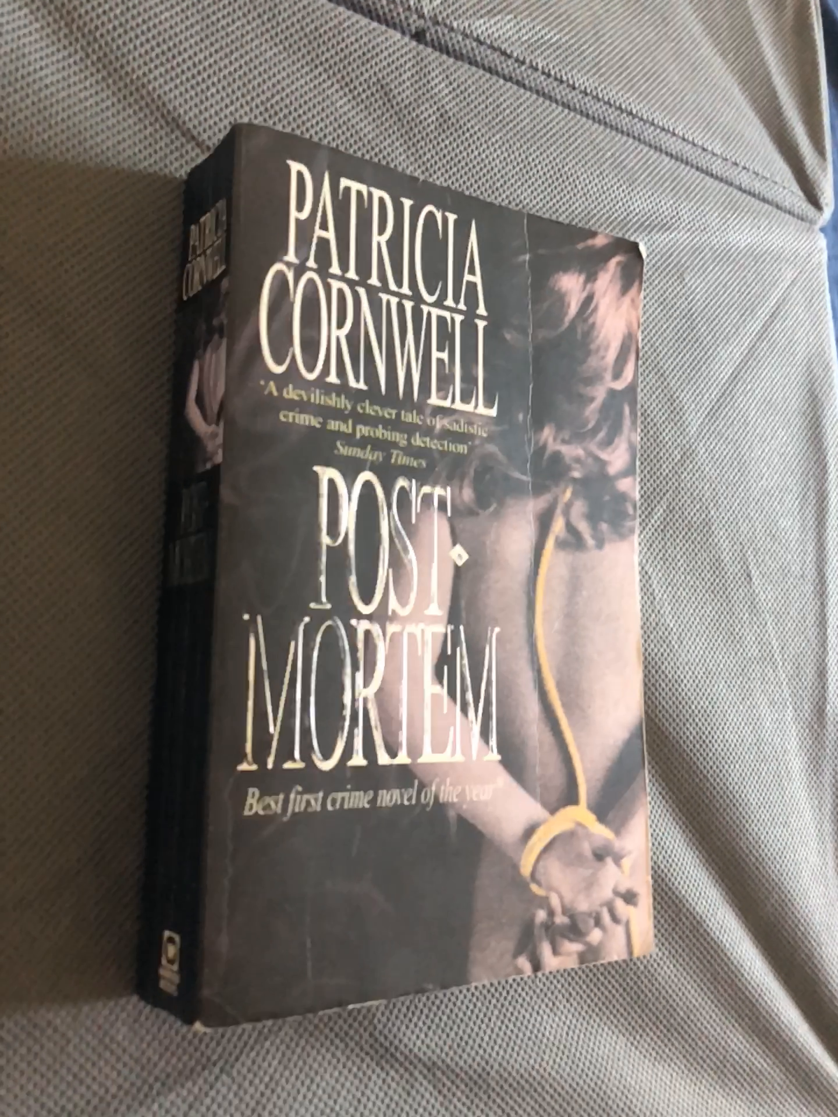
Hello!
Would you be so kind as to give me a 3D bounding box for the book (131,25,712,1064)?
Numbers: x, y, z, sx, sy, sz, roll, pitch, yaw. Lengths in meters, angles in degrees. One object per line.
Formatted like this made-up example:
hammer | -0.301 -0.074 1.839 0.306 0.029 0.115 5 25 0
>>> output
book | 0.003 -0.003 0.207 0.110 0.050 0.180 6 77 -32
